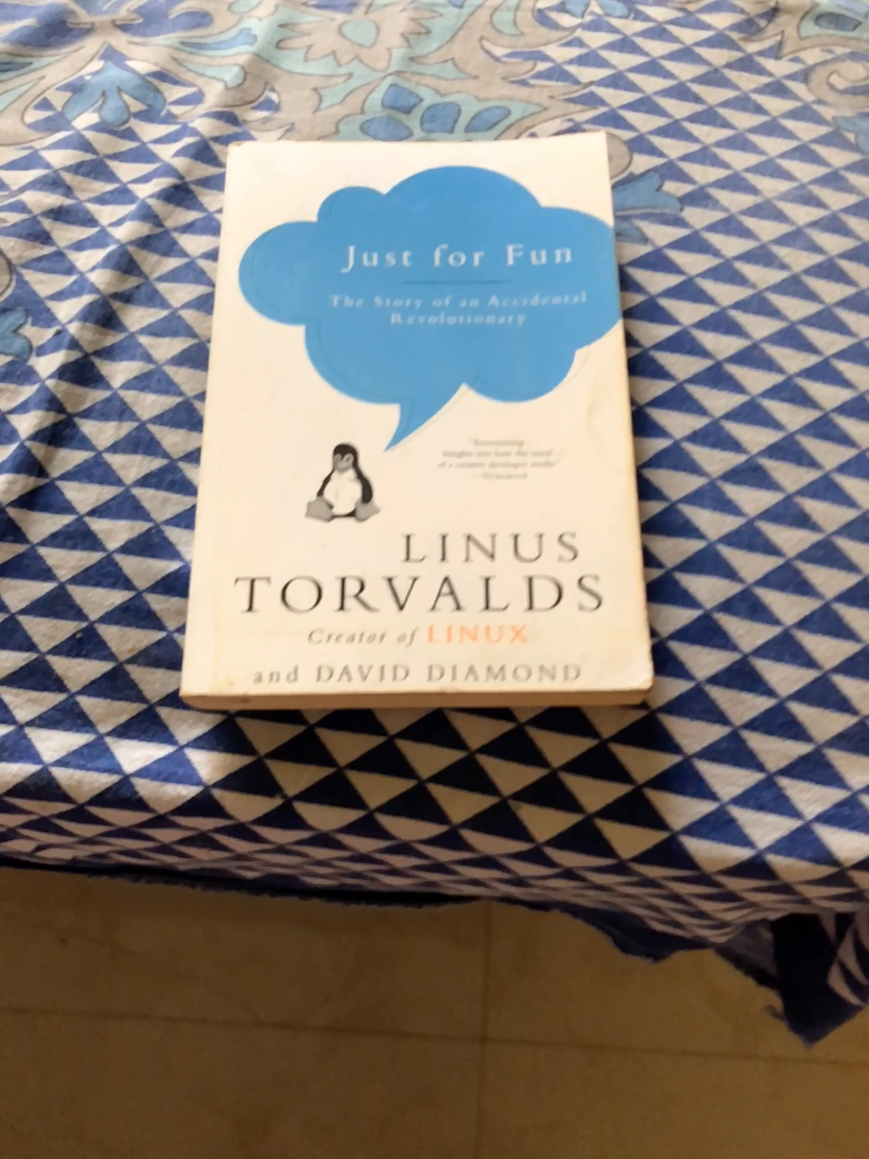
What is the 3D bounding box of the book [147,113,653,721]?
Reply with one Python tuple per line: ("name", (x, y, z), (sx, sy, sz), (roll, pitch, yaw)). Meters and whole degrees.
("book", (-0.011, -0.061, 0.321), (0.140, 0.030, 0.210), (-1, 69, 0))
